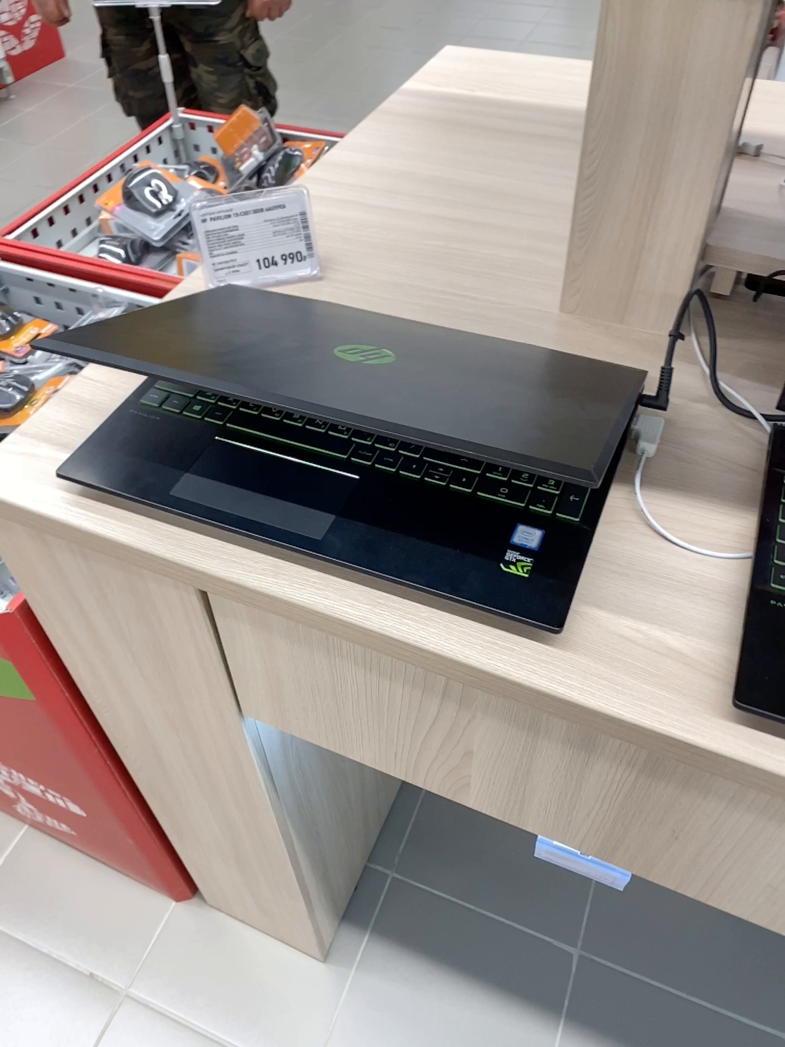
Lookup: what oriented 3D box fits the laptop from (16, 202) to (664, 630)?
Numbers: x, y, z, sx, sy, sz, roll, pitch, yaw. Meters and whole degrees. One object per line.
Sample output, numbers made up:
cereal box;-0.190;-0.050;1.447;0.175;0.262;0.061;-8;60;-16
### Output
laptop;-0.026;-0.101;0.563;0.366;0.086;0.241;17;51;17
